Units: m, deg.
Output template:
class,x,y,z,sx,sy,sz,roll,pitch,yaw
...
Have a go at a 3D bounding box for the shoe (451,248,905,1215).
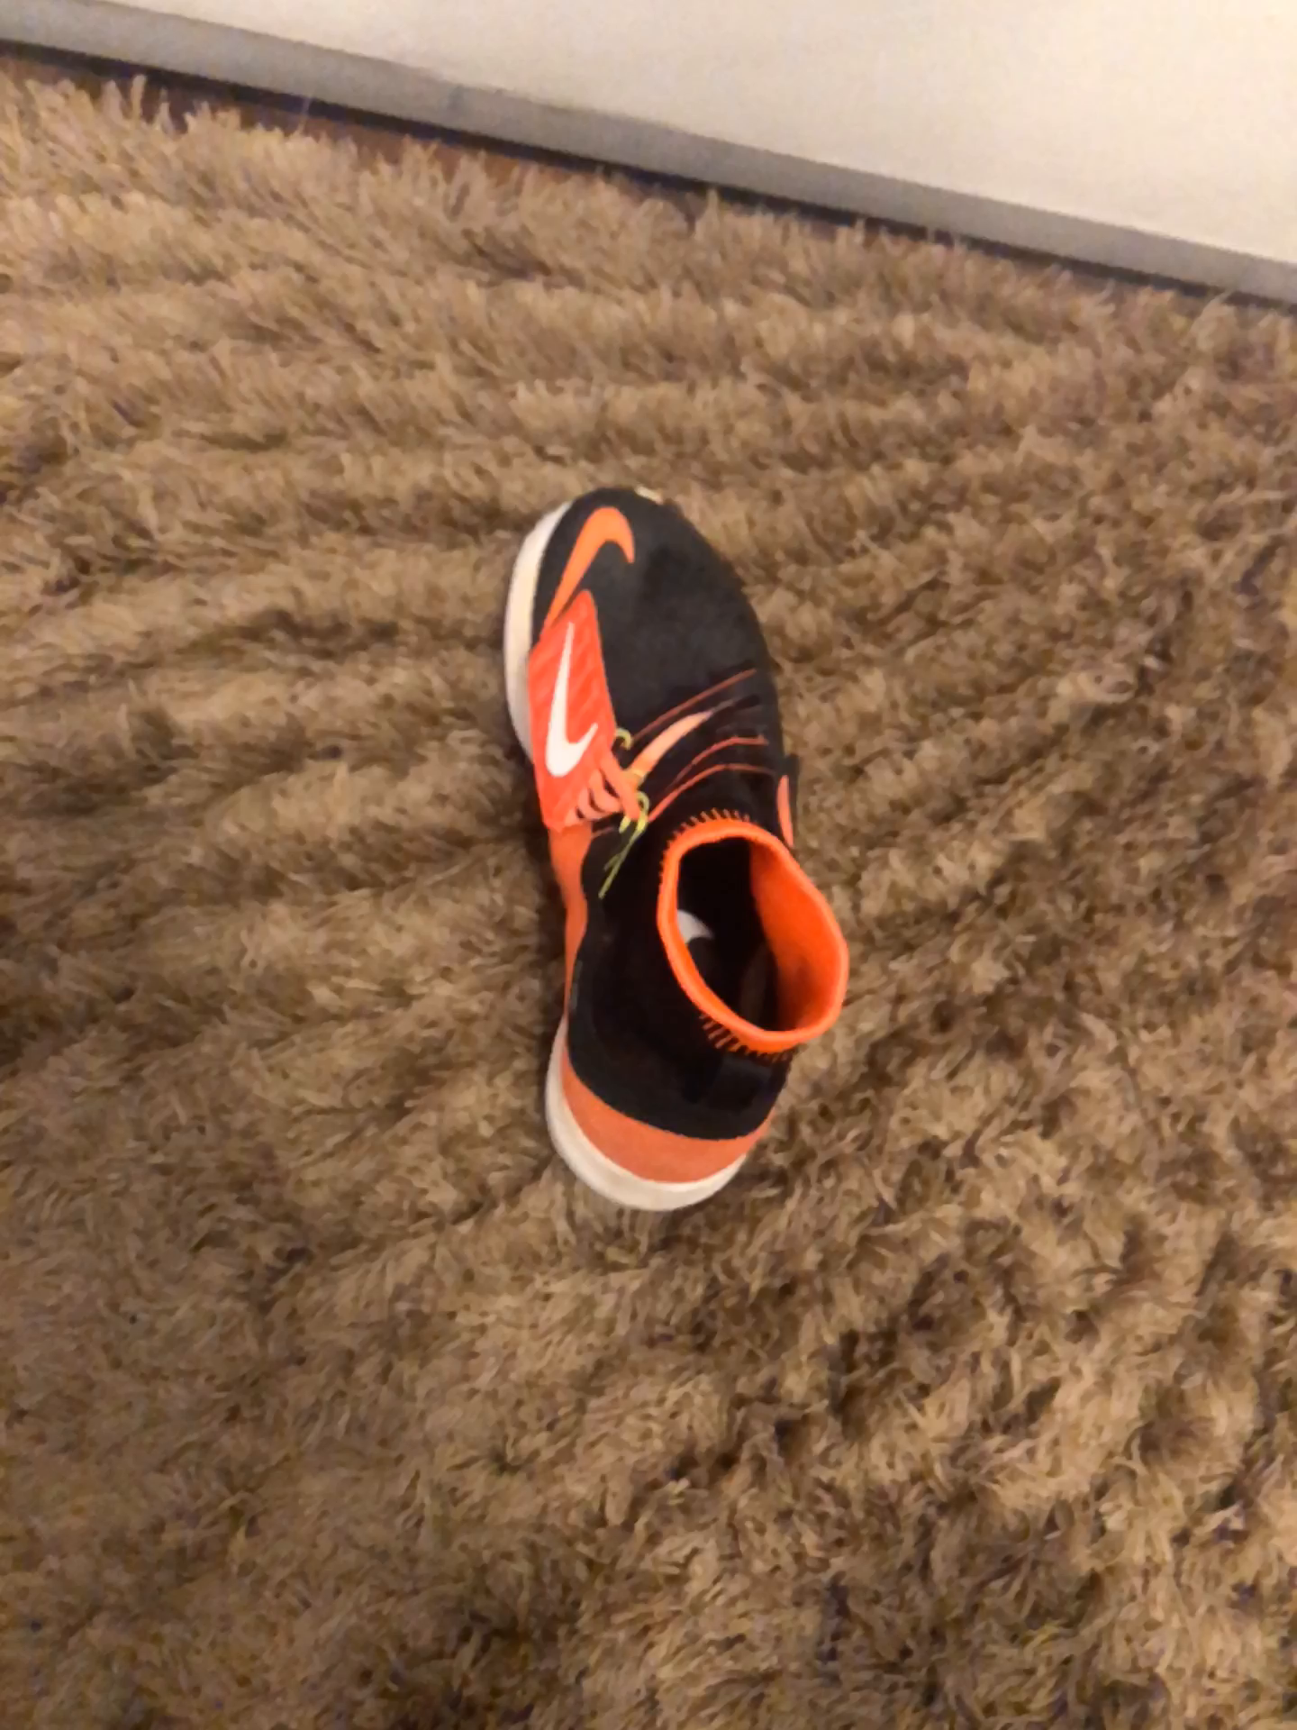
class,x,y,z,sx,sy,sz,roll,pitch,yaw
shoe,0.006,-0.033,0.514,0.110,0.140,0.303,6,75,-17
